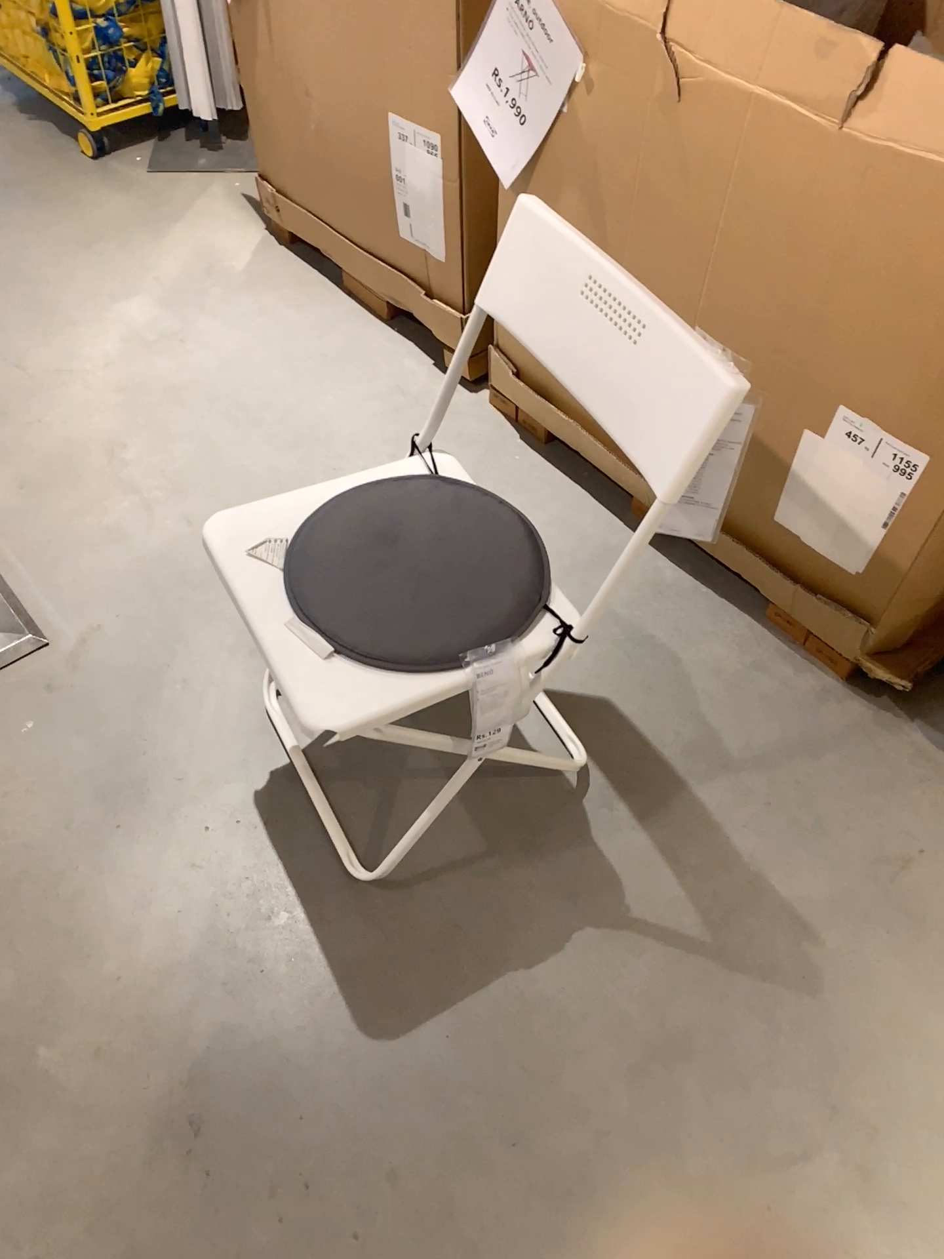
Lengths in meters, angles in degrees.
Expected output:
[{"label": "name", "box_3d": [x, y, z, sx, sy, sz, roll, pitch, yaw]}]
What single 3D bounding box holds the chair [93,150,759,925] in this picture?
[{"label": "chair", "box_3d": [-0.077, -0.086, 1.220, 0.480, 0.738, 0.491, -22, 55, -19]}]
